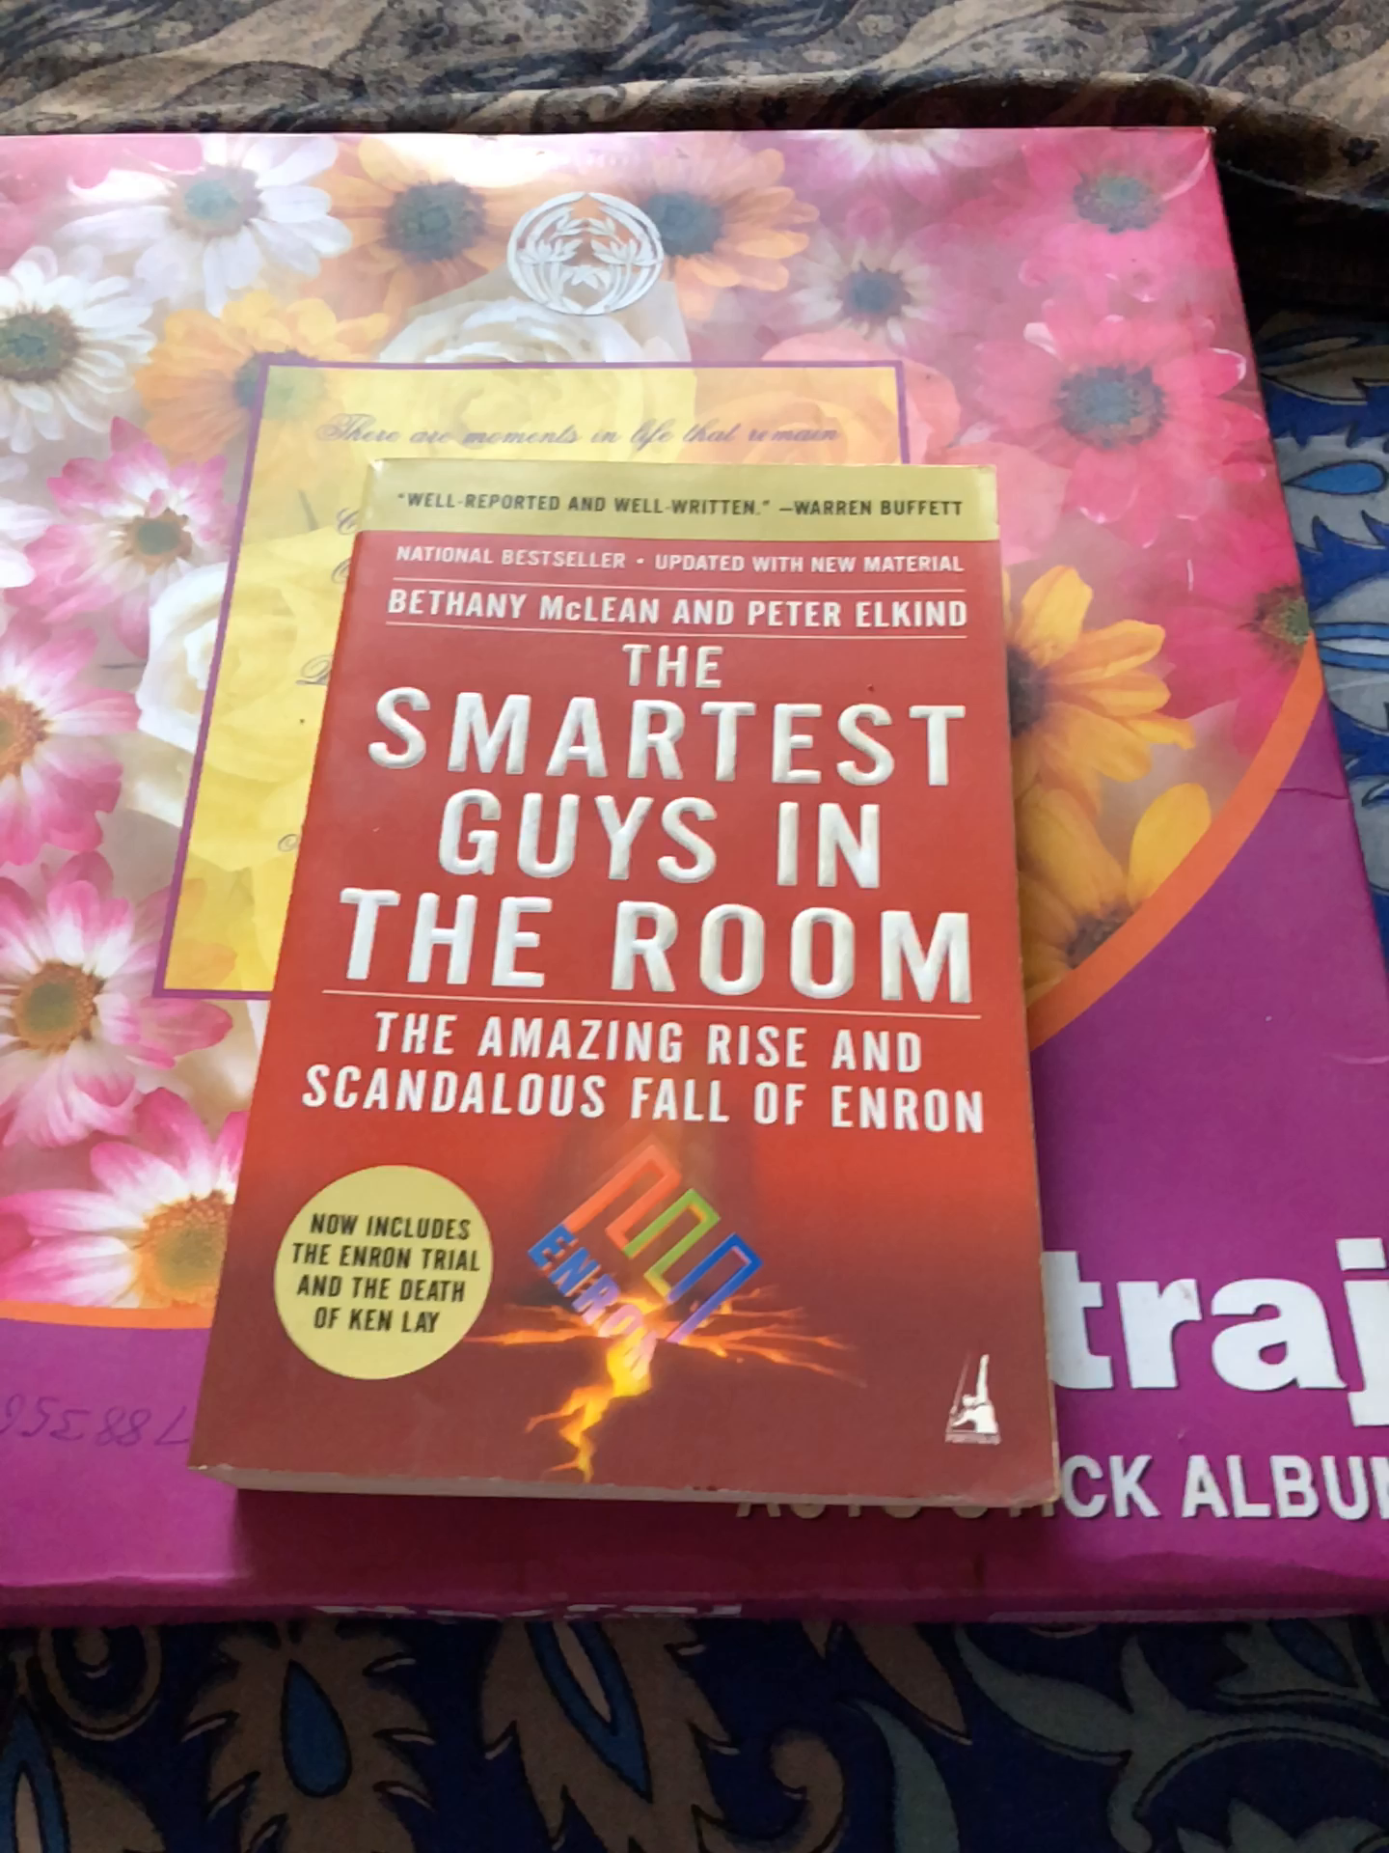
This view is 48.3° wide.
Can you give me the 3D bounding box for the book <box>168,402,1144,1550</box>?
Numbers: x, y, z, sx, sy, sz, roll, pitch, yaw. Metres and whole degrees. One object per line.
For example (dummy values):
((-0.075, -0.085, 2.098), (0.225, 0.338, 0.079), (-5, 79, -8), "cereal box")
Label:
((-0.002, -0.002, 0.302), (0.150, 0.040, 0.220), (0, 65, 5), "book")
